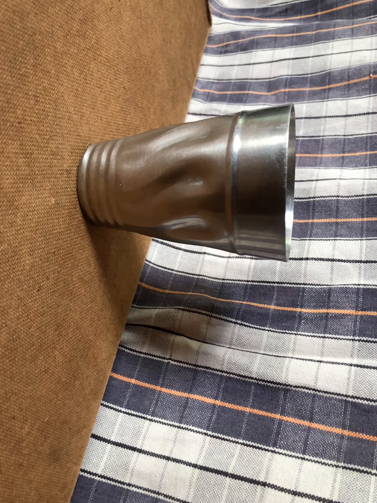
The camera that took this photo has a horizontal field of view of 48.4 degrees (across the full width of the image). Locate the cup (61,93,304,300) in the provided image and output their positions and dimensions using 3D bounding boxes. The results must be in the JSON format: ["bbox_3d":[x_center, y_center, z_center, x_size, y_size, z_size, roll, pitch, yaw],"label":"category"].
[{"bbox_3d":[0.007,-0.033,0.222,0.080,0.099,0.080,2,90,-75],"label":"cup"}]
